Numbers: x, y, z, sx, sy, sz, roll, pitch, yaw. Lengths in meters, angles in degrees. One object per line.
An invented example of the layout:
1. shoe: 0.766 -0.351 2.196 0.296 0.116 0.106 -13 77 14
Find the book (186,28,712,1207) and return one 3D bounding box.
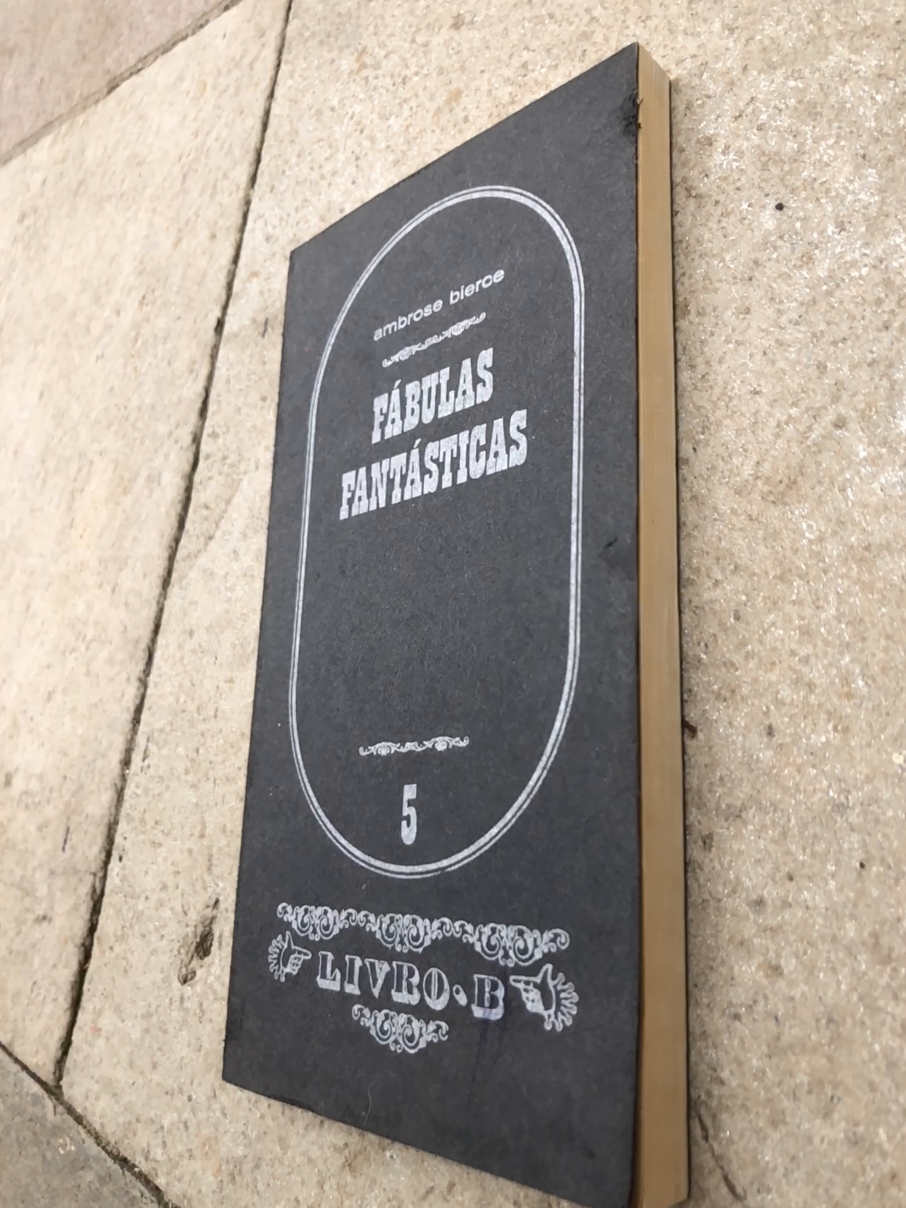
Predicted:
1. book: -0.005 0.001 0.182 0.105 0.013 0.176 -11 71 44
